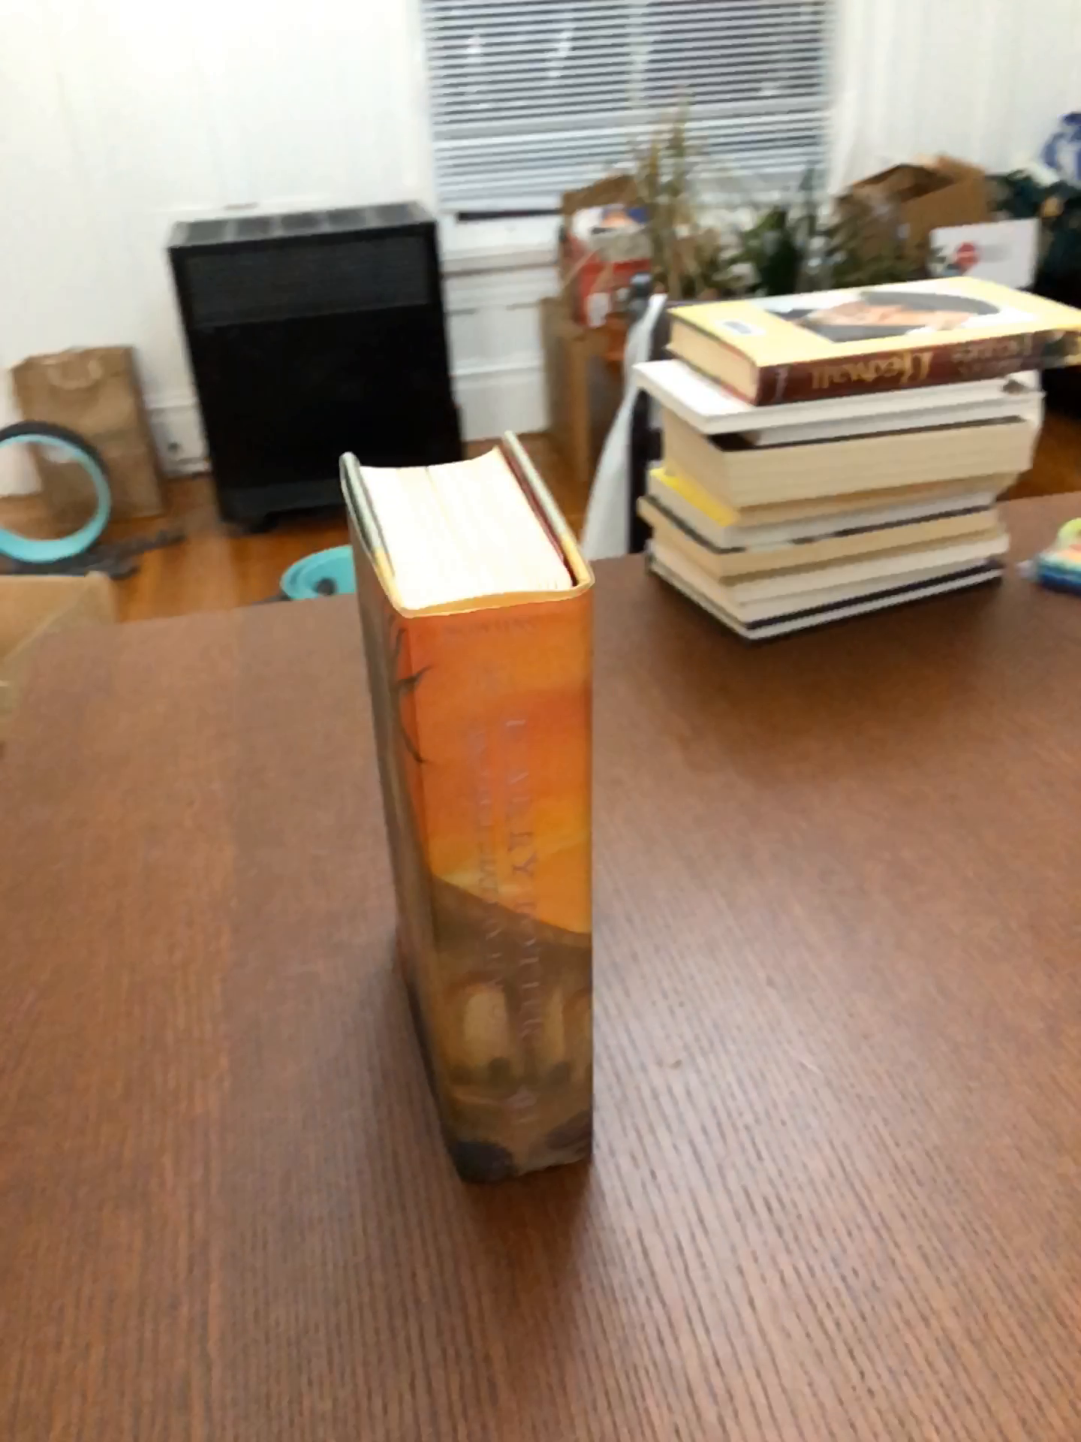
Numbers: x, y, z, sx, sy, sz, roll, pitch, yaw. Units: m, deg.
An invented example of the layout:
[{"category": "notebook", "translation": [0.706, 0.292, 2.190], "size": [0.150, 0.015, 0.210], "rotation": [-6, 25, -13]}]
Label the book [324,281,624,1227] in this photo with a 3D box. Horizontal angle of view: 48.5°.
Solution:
[{"category": "book", "translation": [-0.028, 0.004, 0.472], "size": [0.070, 0.298, 0.211], "rotation": [-7, 30, -8]}]
